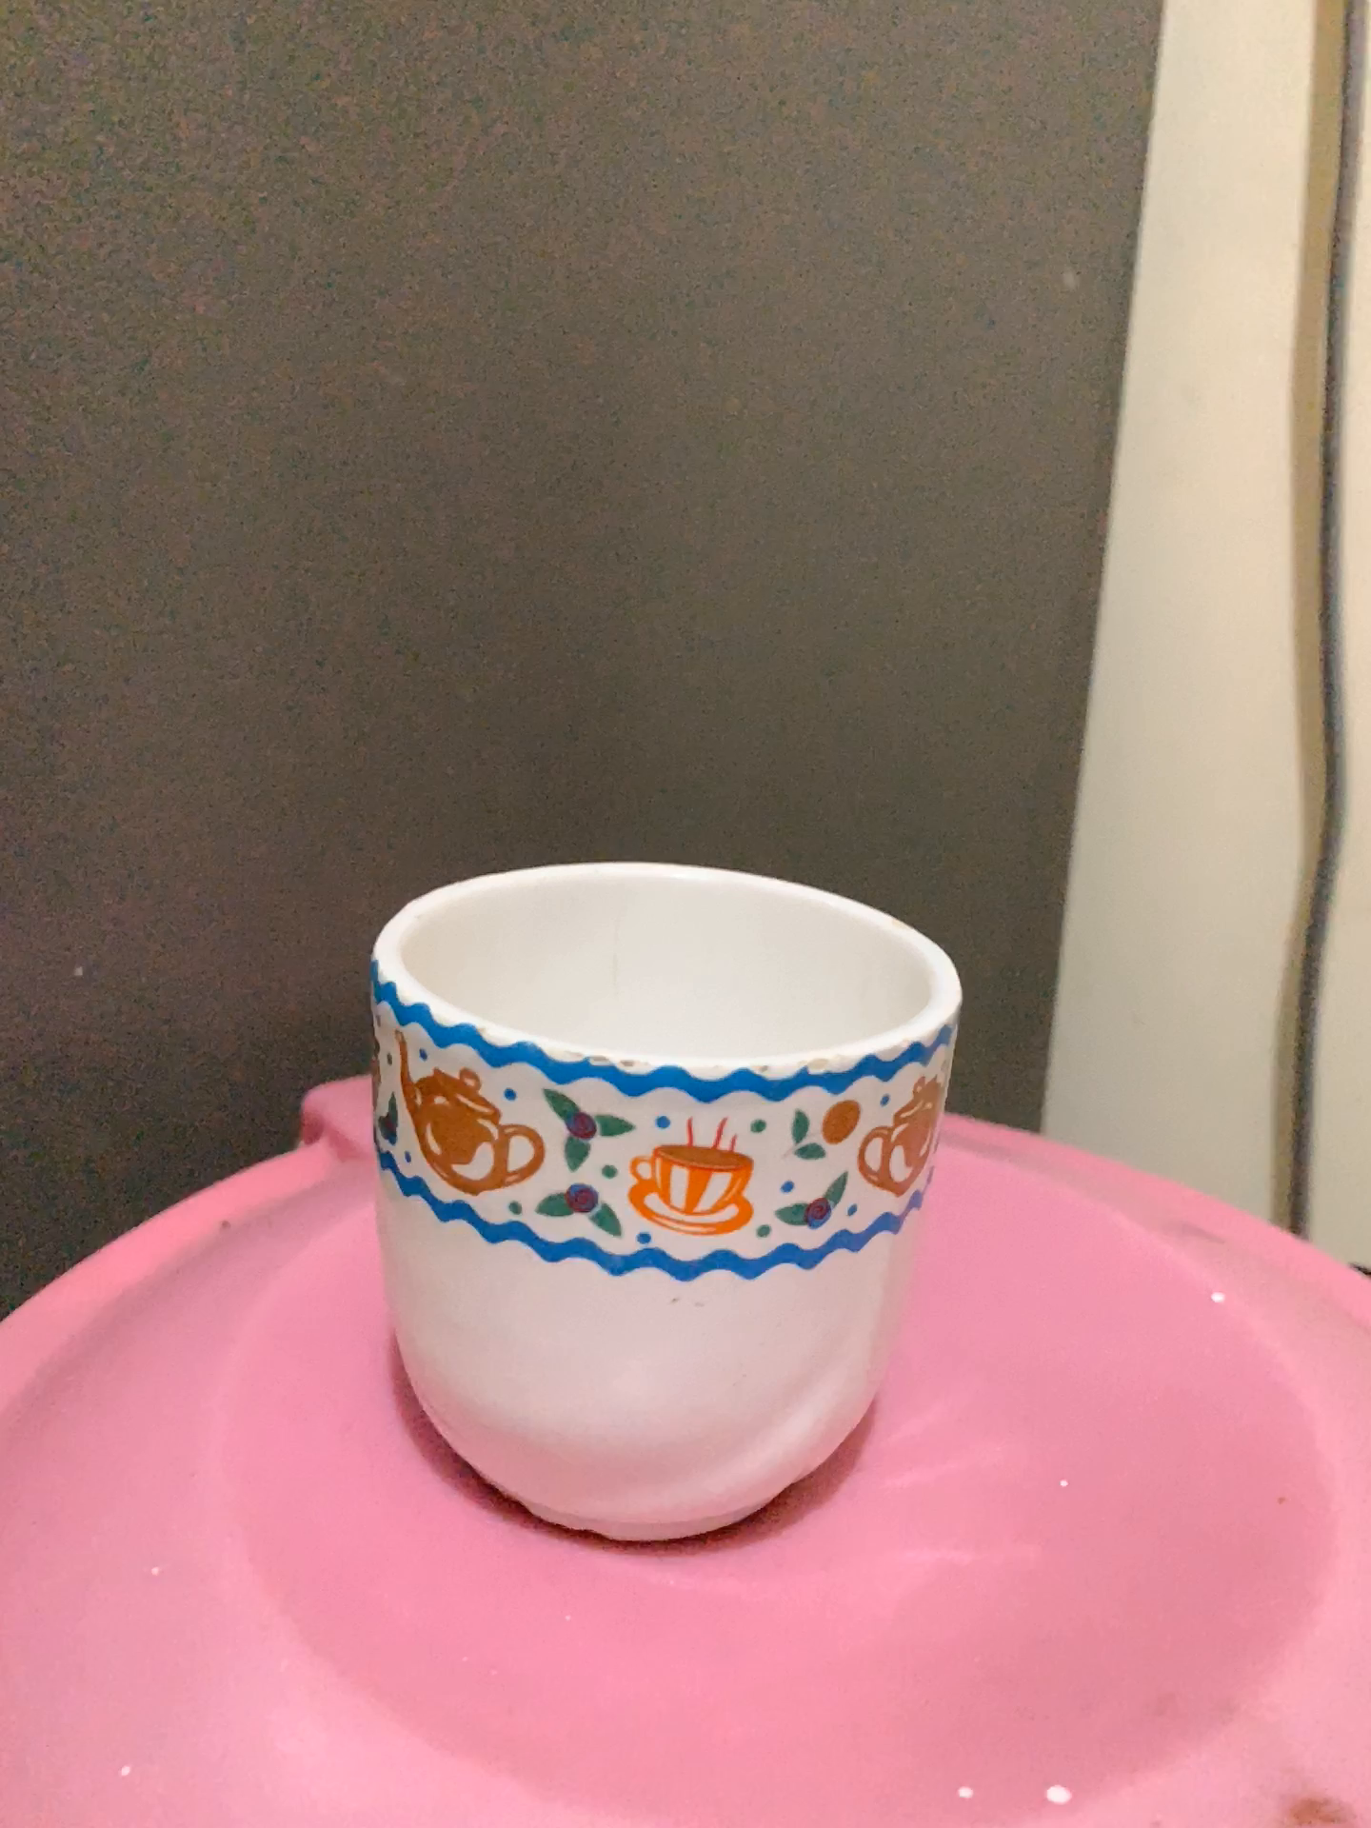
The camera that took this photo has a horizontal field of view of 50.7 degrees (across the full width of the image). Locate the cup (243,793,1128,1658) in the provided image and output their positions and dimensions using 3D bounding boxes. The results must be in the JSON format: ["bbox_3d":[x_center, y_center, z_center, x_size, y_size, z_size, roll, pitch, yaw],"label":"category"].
[{"bbox_3d":[-0.003,0.026,0.177,0.076,0.062,0.072,2,16,-1],"label":"cup"}]
